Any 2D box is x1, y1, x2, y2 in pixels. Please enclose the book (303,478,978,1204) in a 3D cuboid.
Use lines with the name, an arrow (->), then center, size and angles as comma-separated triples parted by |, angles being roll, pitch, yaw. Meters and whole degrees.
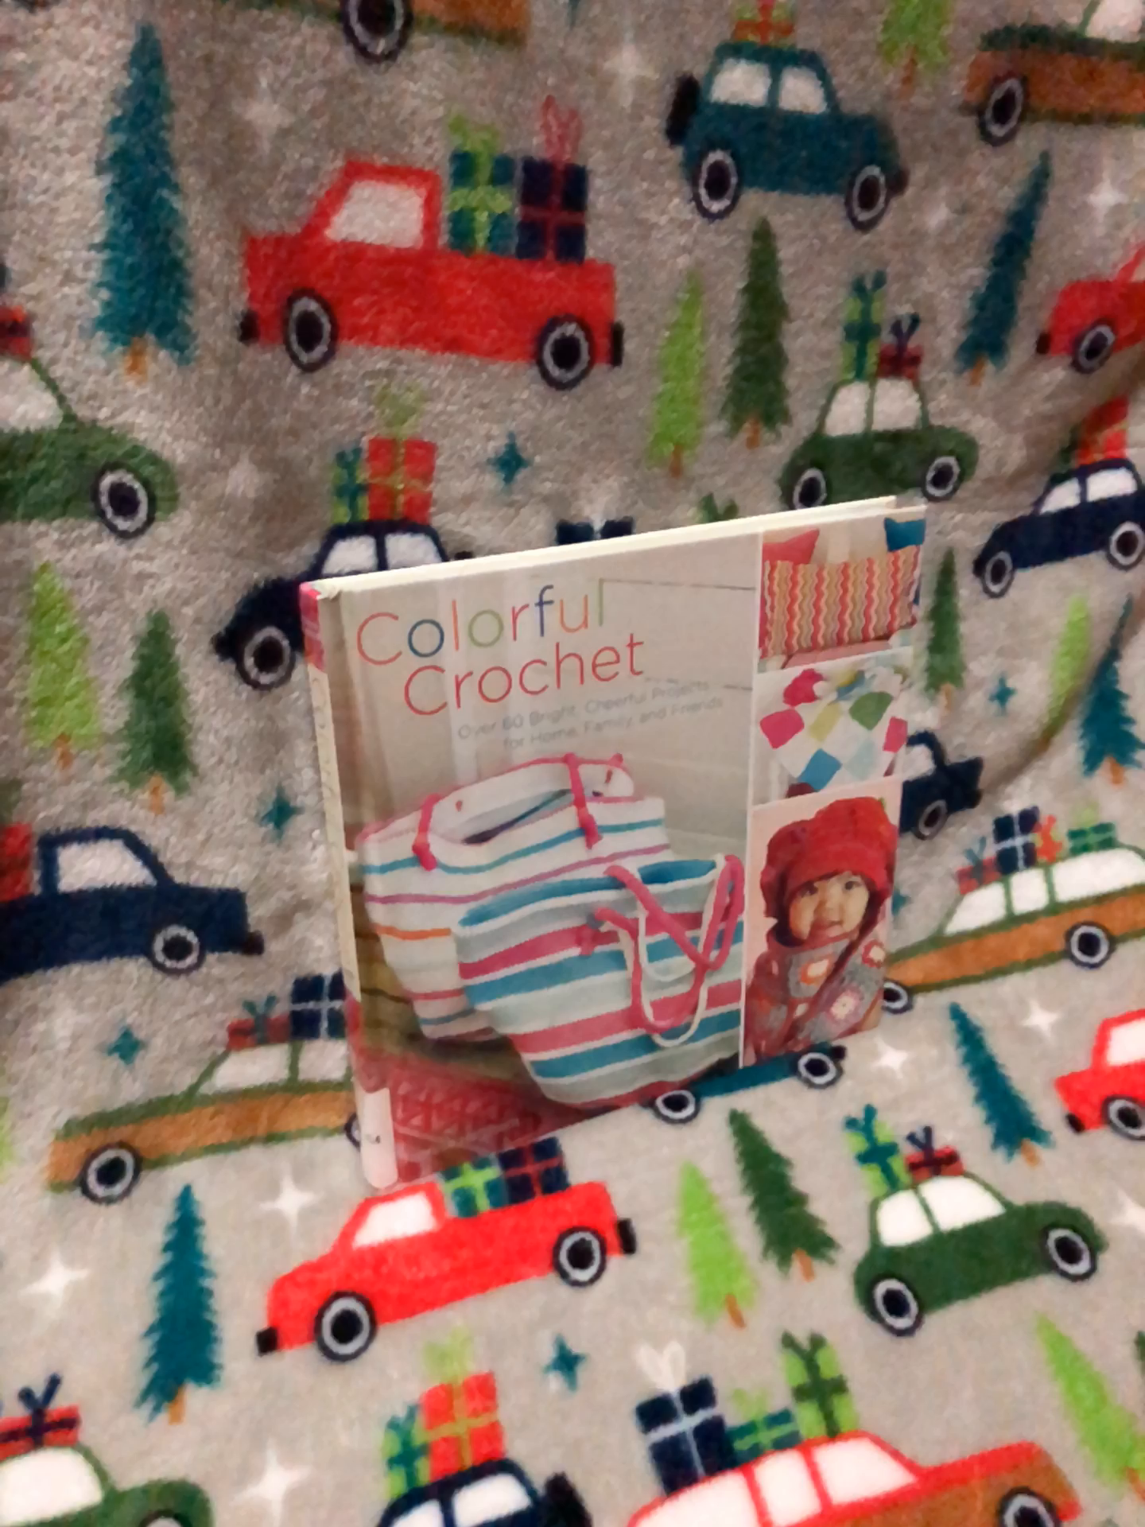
book -> 0.022, 0.026, 0.404 | 0.202, 0.214, 0.020 | -12, 34, -24
